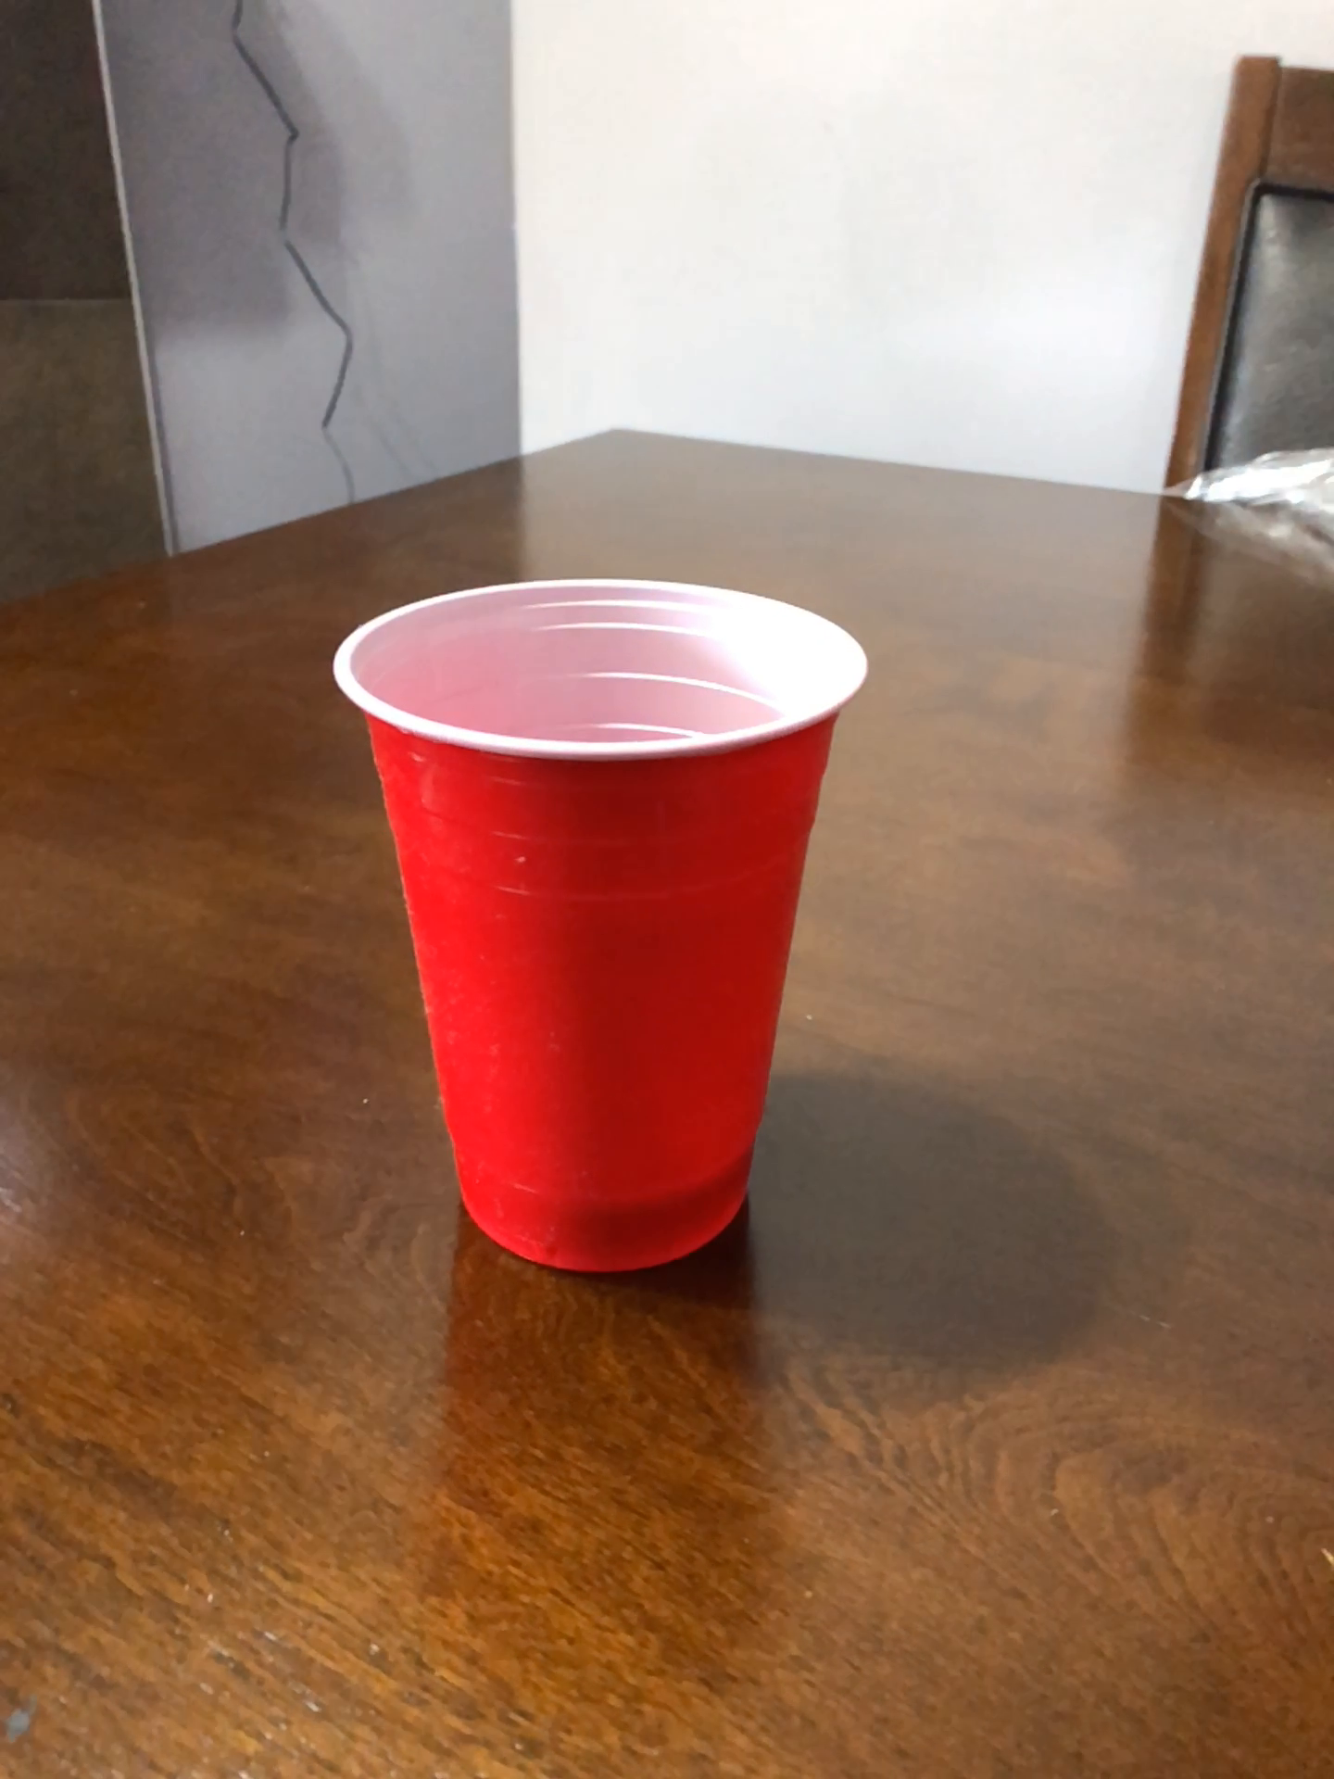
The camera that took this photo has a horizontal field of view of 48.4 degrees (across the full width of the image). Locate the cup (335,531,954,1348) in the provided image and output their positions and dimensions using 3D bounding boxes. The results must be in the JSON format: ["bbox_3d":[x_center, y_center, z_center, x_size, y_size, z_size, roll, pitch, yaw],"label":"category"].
[{"bbox_3d":[-0.010,0.003,0.278,0.090,0.120,0.090,1,25,0],"label":"cup"}]
